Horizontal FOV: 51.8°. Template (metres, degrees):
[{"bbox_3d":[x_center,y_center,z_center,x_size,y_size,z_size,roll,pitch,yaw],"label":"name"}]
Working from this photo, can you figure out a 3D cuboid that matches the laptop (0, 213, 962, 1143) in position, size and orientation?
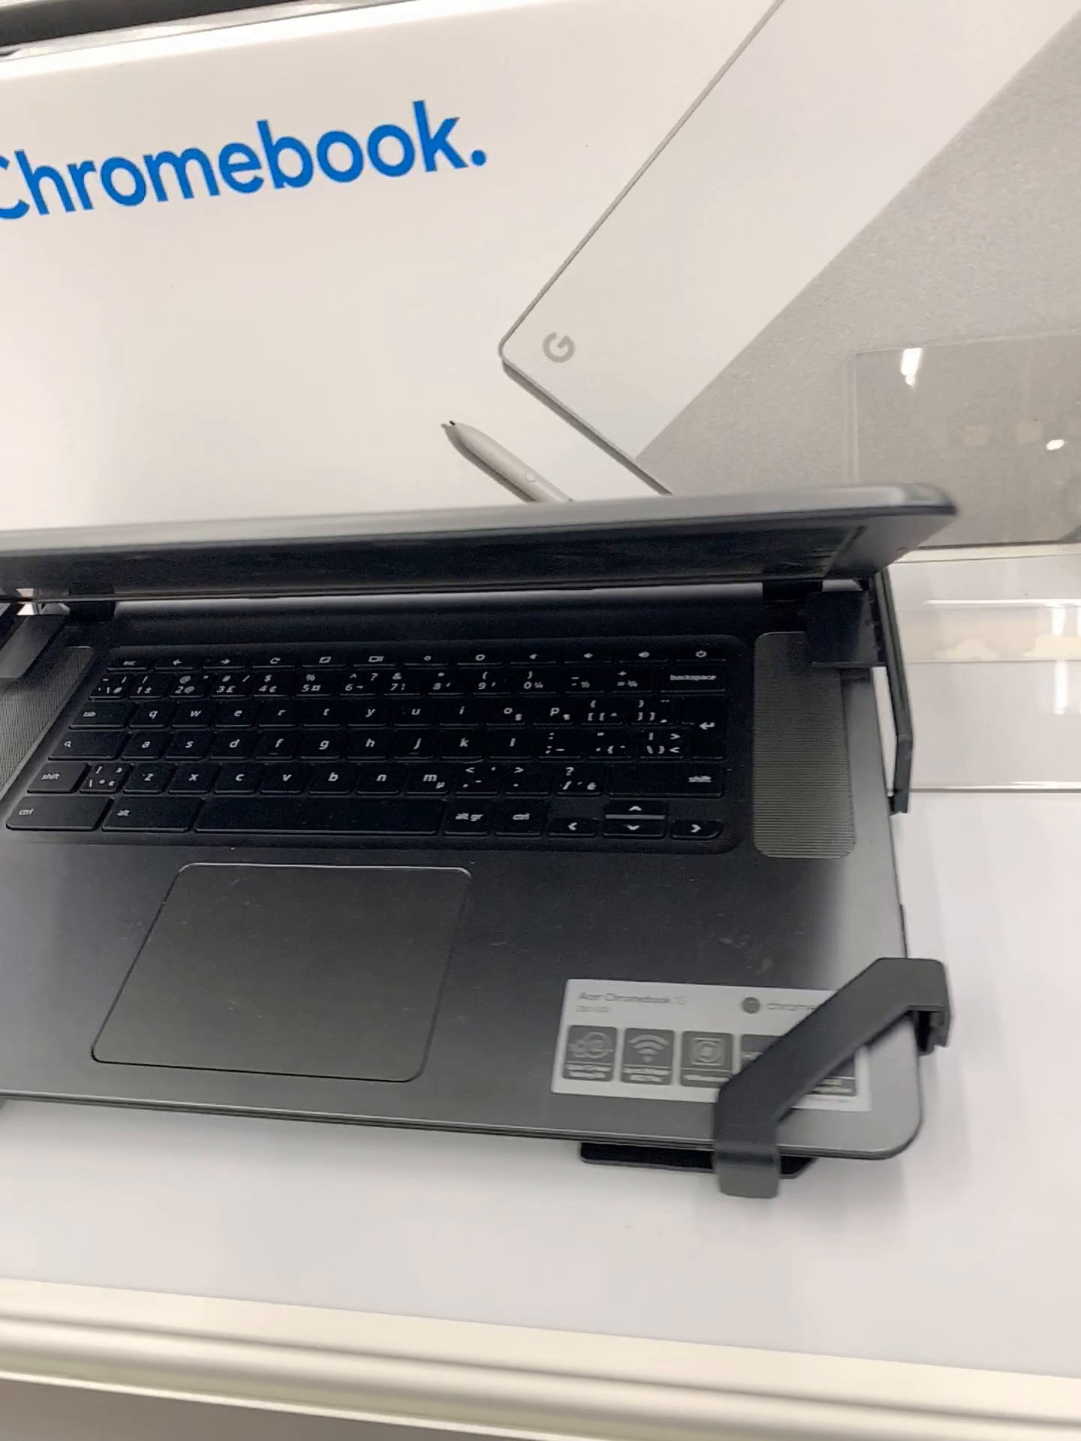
[{"bbox_3d":[-0.067,-0.022,0.294,0.301,0.116,0.194,-1,43,12],"label":"laptop"}]
